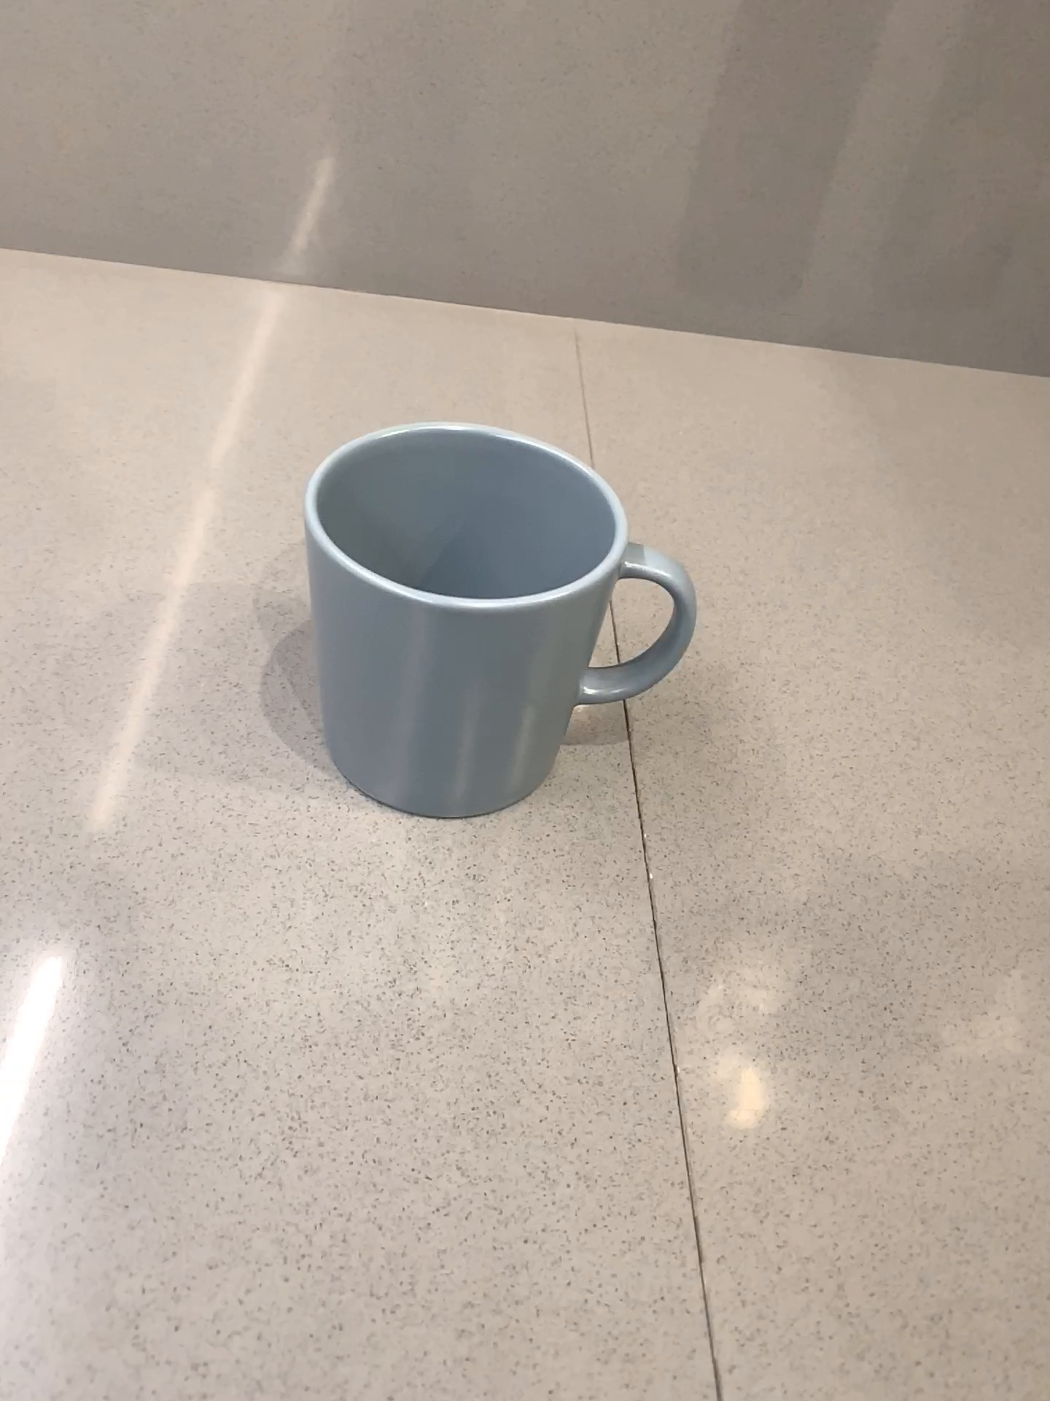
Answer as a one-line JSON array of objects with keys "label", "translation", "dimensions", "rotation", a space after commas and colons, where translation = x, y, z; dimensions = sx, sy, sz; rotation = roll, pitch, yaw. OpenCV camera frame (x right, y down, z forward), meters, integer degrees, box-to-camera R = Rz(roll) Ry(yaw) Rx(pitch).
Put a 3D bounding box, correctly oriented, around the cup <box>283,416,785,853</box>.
[{"label": "cup", "translation": [-0.003, -0.020, 0.340], "dimensions": [0.130, 0.090, 0.090], "rotation": [4, 43, -7]}]
